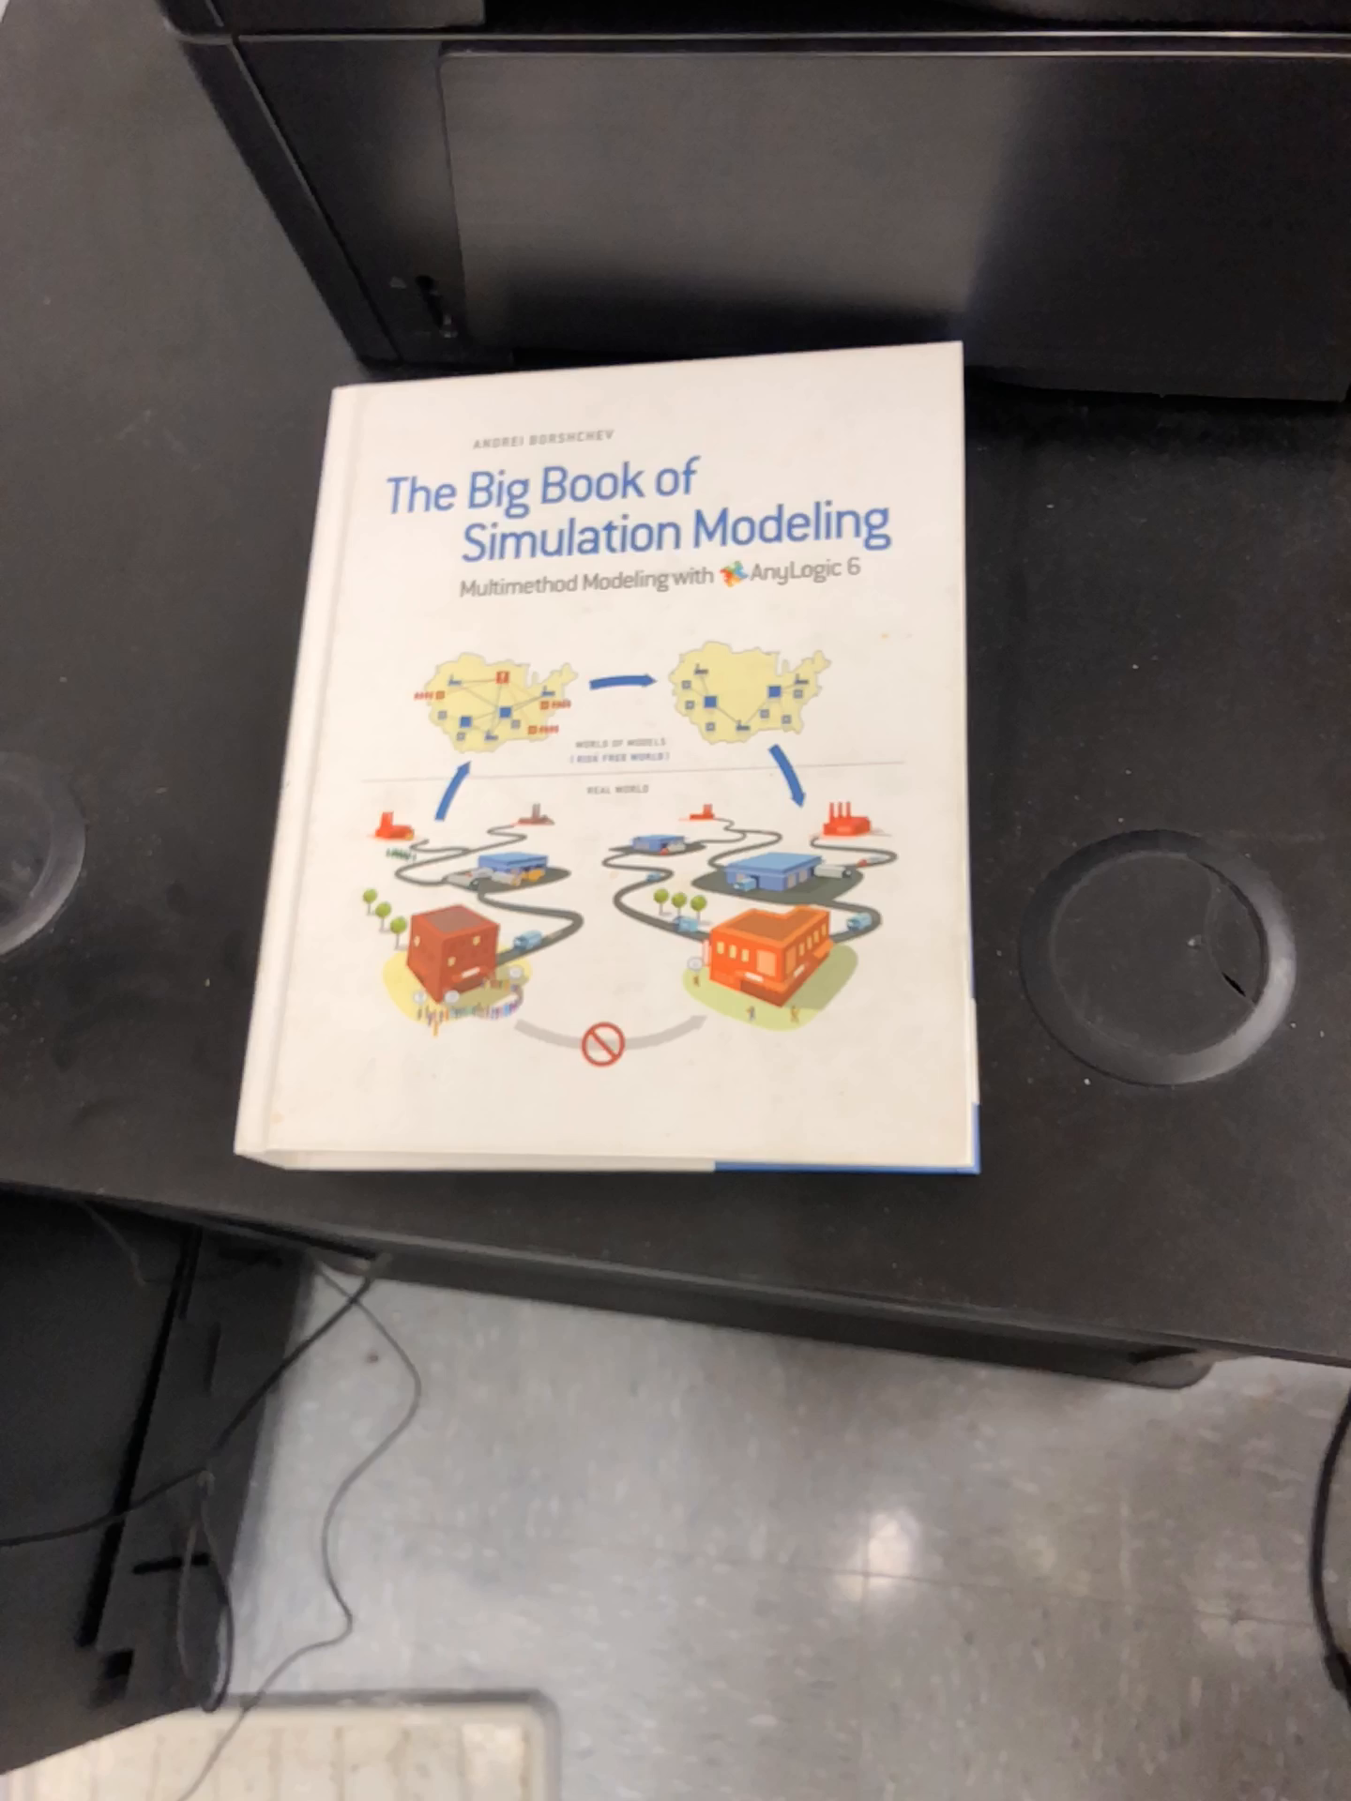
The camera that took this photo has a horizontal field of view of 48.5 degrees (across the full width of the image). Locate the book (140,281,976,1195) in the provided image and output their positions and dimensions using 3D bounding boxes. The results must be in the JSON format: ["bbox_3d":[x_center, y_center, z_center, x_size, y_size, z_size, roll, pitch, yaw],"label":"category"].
[{"bbox_3d":[-0.024,-0.048,0.428,0.210,0.050,0.250,-1,71,10],"label":"book"}]
